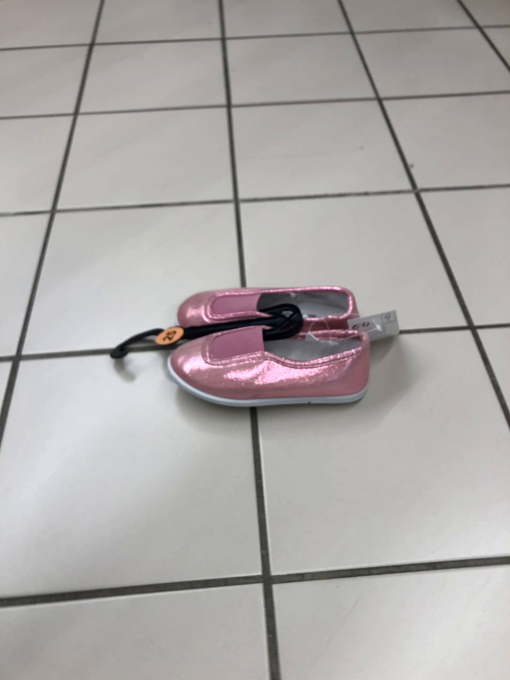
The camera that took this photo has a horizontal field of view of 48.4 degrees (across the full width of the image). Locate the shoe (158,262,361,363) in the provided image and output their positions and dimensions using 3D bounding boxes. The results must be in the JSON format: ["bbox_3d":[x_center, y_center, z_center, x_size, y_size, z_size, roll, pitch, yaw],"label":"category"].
[{"bbox_3d":[0.006,-0.024,0.486,0.161,0.051,0.059,3,51,3],"label":"shoe"}]

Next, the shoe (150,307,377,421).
[{"bbox_3d":[0.006,0.019,0.450,0.163,0.050,0.070,-2,51,0],"label":"shoe"}]
